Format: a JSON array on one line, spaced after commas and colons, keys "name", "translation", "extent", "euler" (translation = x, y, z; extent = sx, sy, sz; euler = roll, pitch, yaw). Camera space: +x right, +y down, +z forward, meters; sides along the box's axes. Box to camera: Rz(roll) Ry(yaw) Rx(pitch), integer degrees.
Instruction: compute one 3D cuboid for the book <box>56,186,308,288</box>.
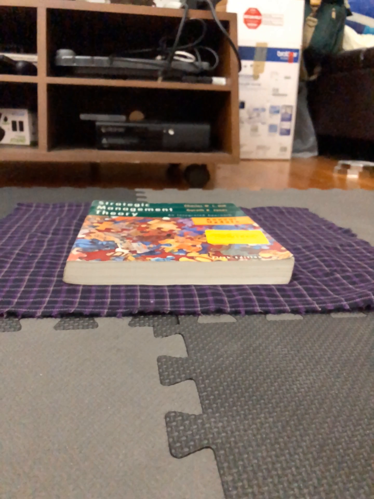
[{"name": "book", "translation": [-0.016, -0.032, 0.517], "extent": [0.230, 0.040, 0.281], "euler": [-1, 20, -6]}]
